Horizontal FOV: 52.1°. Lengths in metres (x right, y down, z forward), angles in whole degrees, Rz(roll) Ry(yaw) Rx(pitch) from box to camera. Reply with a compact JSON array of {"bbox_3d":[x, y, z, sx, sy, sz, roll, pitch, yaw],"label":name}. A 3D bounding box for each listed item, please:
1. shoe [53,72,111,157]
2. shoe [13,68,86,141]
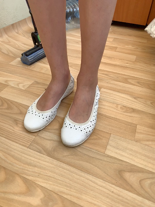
[{"bbox_3d":[0.029,0.011,0.476,0.090,0.070,0.271,12,43,14],"label":"shoe"},{"bbox_3d":[-0.074,-0.016,0.534,0.100,0.070,0.271,18,45,19],"label":"shoe"}]
